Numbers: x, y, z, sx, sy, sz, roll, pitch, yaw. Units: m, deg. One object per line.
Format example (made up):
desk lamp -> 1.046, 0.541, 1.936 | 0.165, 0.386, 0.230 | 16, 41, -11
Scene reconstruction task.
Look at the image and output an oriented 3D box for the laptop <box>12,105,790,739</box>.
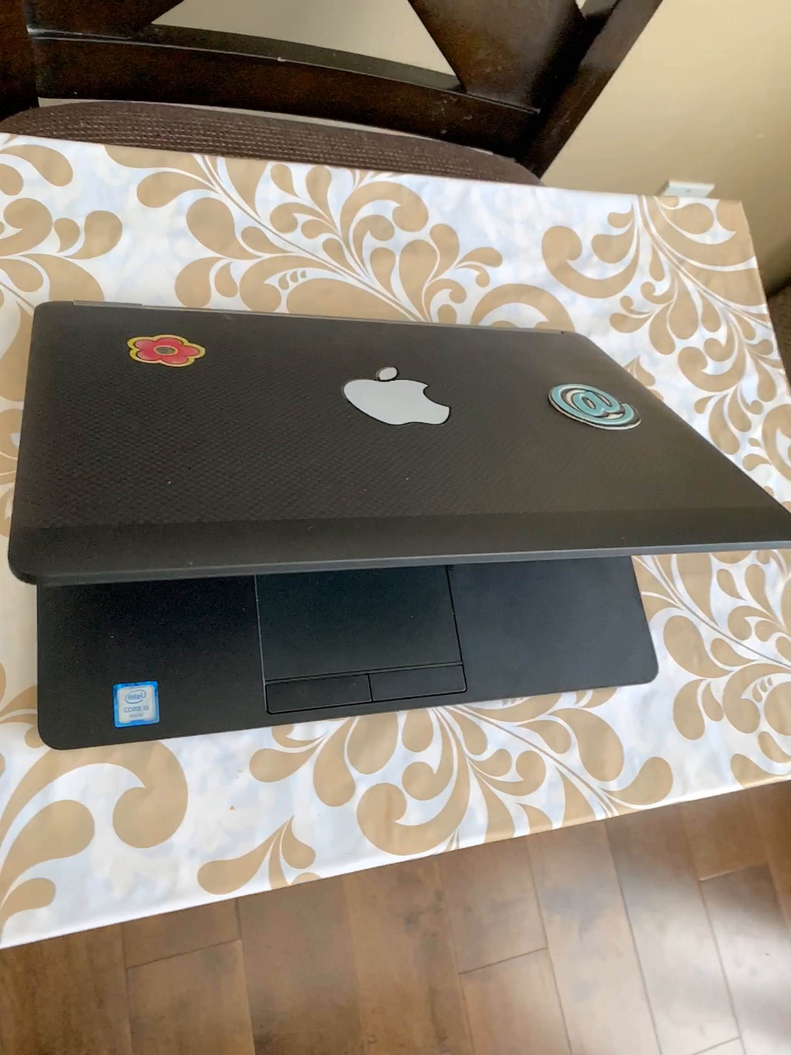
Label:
laptop -> 0.005, -0.032, 0.354 | 0.300, 0.127, 0.199 | -2, 71, -21
